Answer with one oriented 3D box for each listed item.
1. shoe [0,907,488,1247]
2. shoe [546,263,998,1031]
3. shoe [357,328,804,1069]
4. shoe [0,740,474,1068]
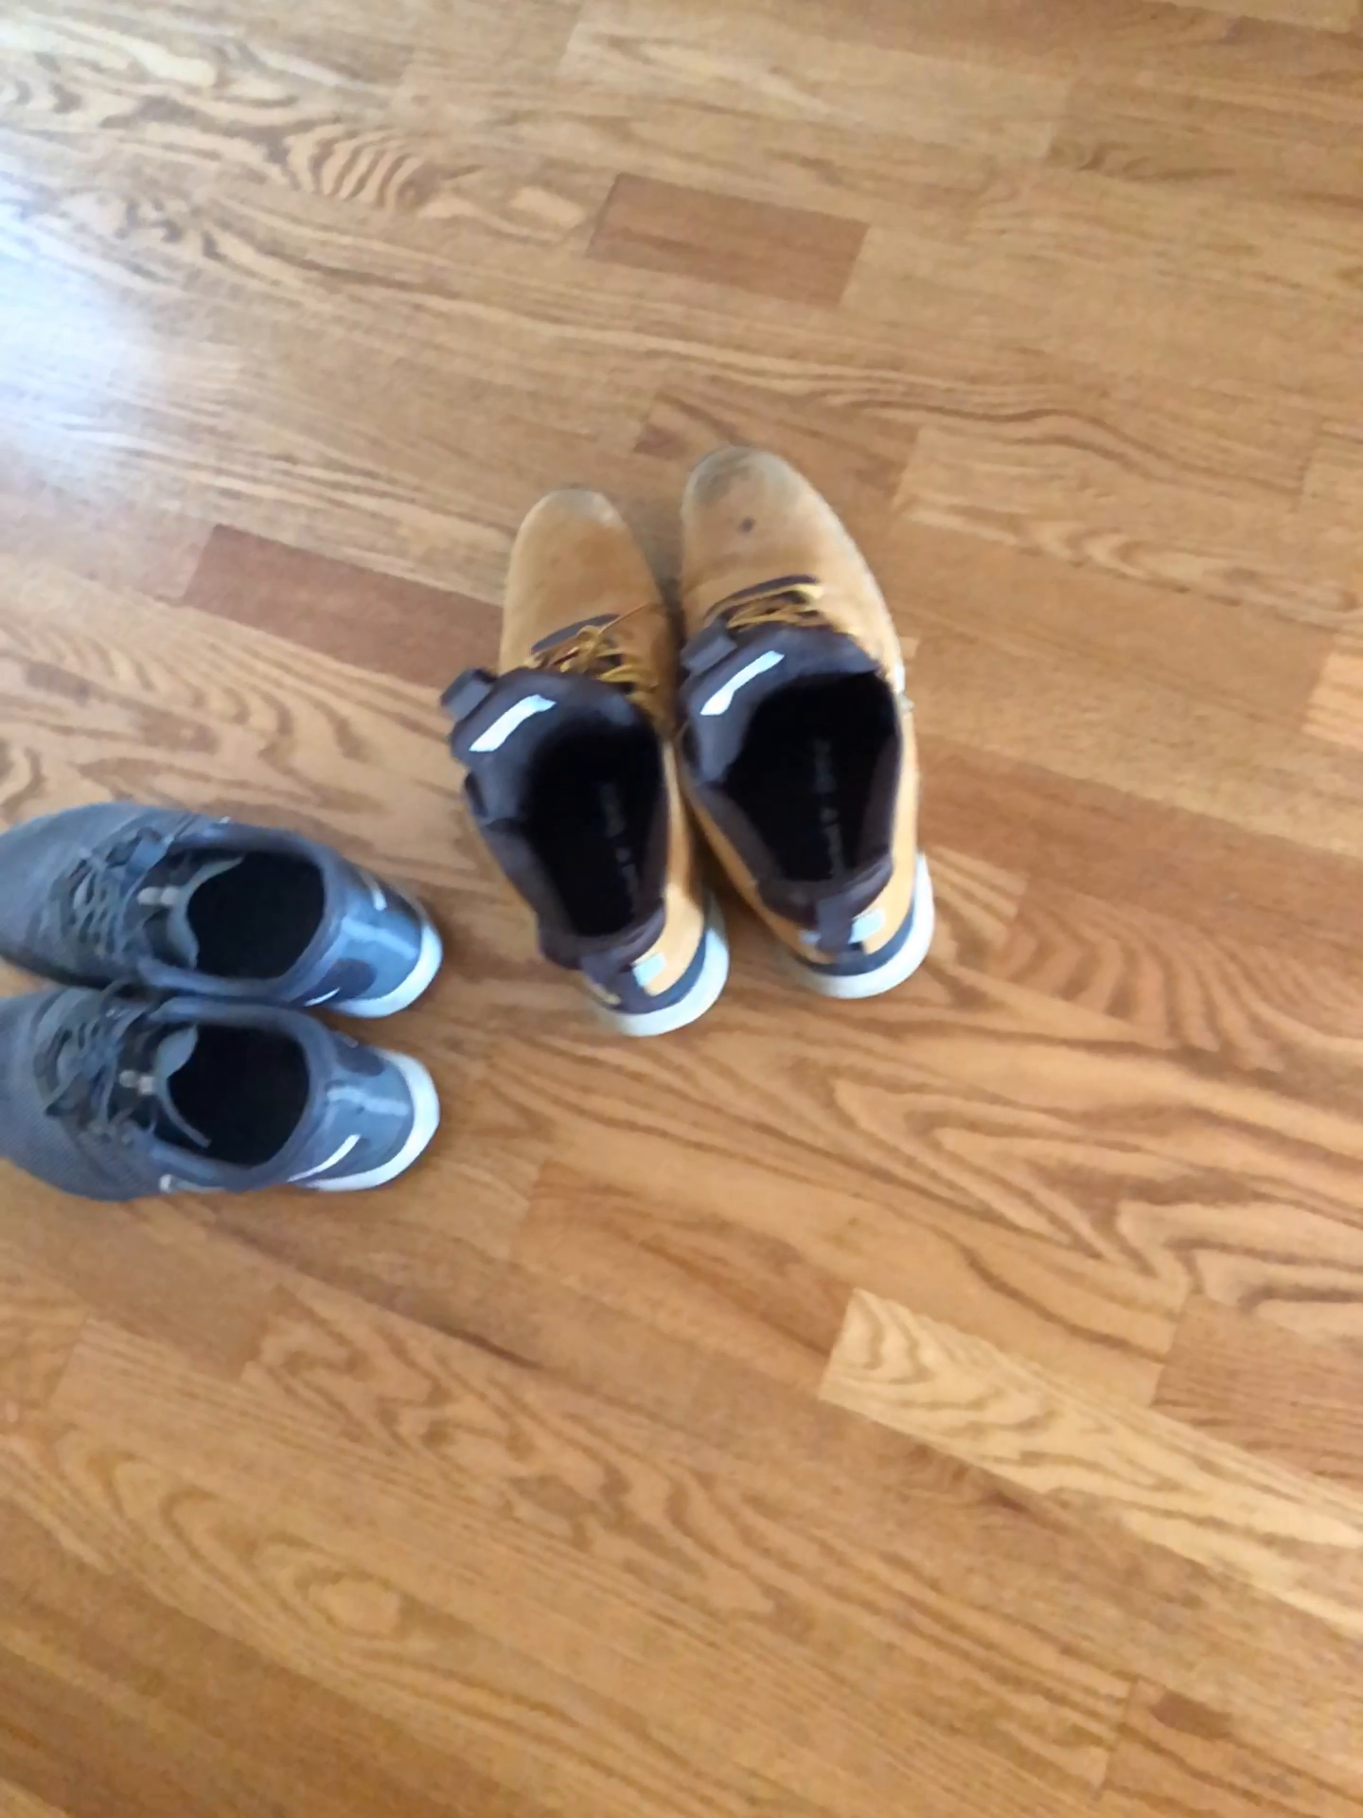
[{"bbox_3d":[-0.286,0.092,0.827,0.320,0.100,0.140,6,79,14],"label":"shoe"},{"bbox_3d":[0.047,-0.119,0.731,0.130,0.140,0.320,-16,75,9],"label":"shoe"},{"bbox_3d":[-0.049,-0.097,0.753,0.130,0.140,0.320,-16,75,9],"label":"shoe"},{"bbox_3d":[-0.302,-0.003,0.852,0.330,0.100,0.140,6,79,14],"label":"shoe"}]
